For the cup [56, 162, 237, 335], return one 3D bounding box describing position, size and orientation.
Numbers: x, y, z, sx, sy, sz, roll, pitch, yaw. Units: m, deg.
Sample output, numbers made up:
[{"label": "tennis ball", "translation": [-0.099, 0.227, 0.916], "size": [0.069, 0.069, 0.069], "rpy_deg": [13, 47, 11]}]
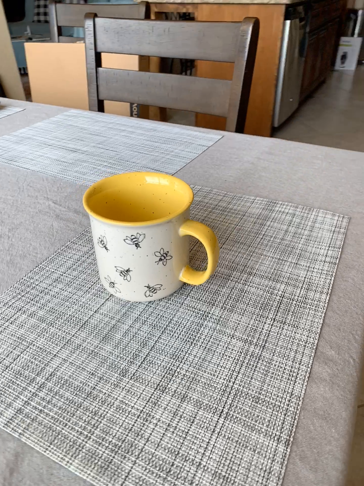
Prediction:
[{"label": "cup", "translation": [-0.031, -0.003, 0.395], "size": [0.136, 0.107, 0.113], "rpy_deg": [17, 39, 24]}]
